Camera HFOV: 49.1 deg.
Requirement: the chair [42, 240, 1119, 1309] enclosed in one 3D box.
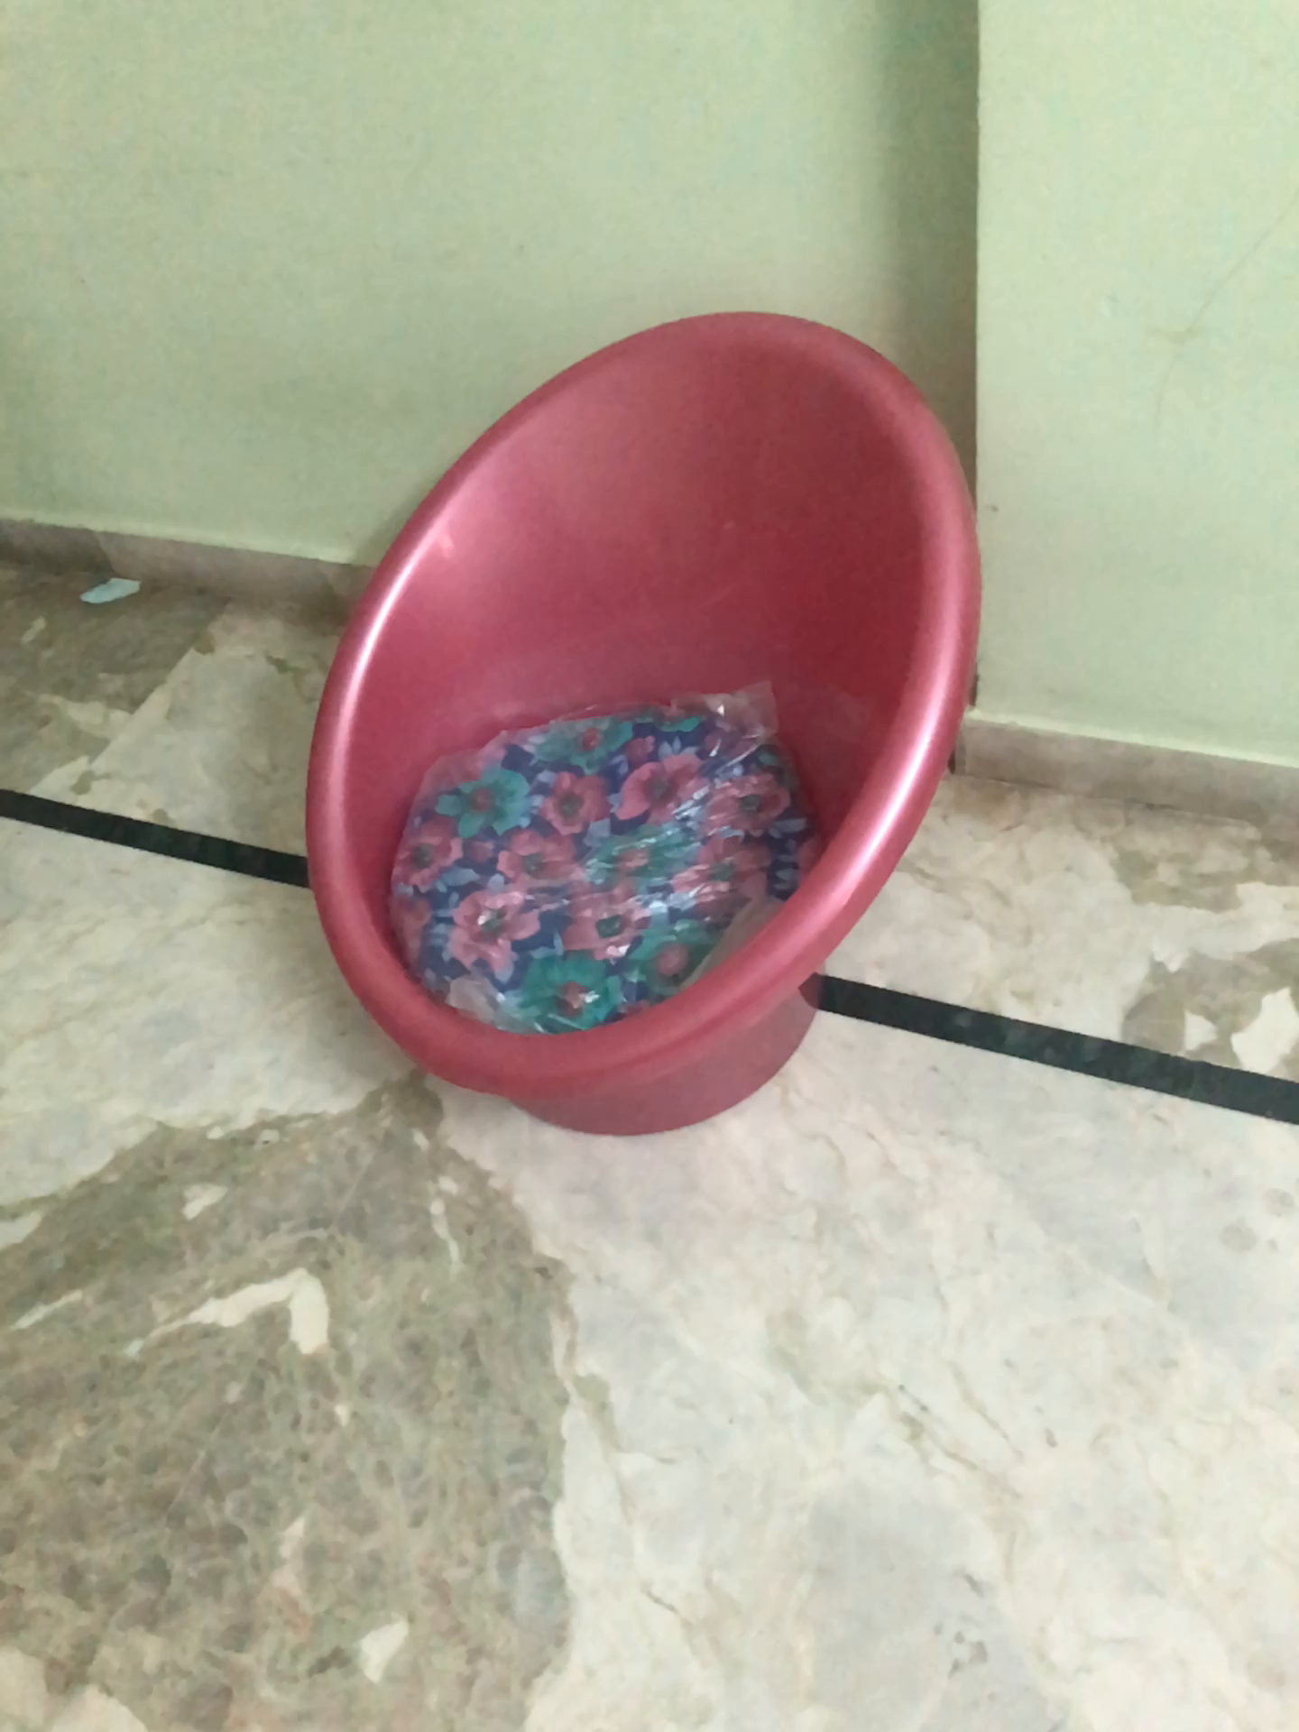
[{"bbox_3d":[-0.039,-0.126,1.386,0.661,0.547,0.643,-38,52,-20],"label":"chair"}]
